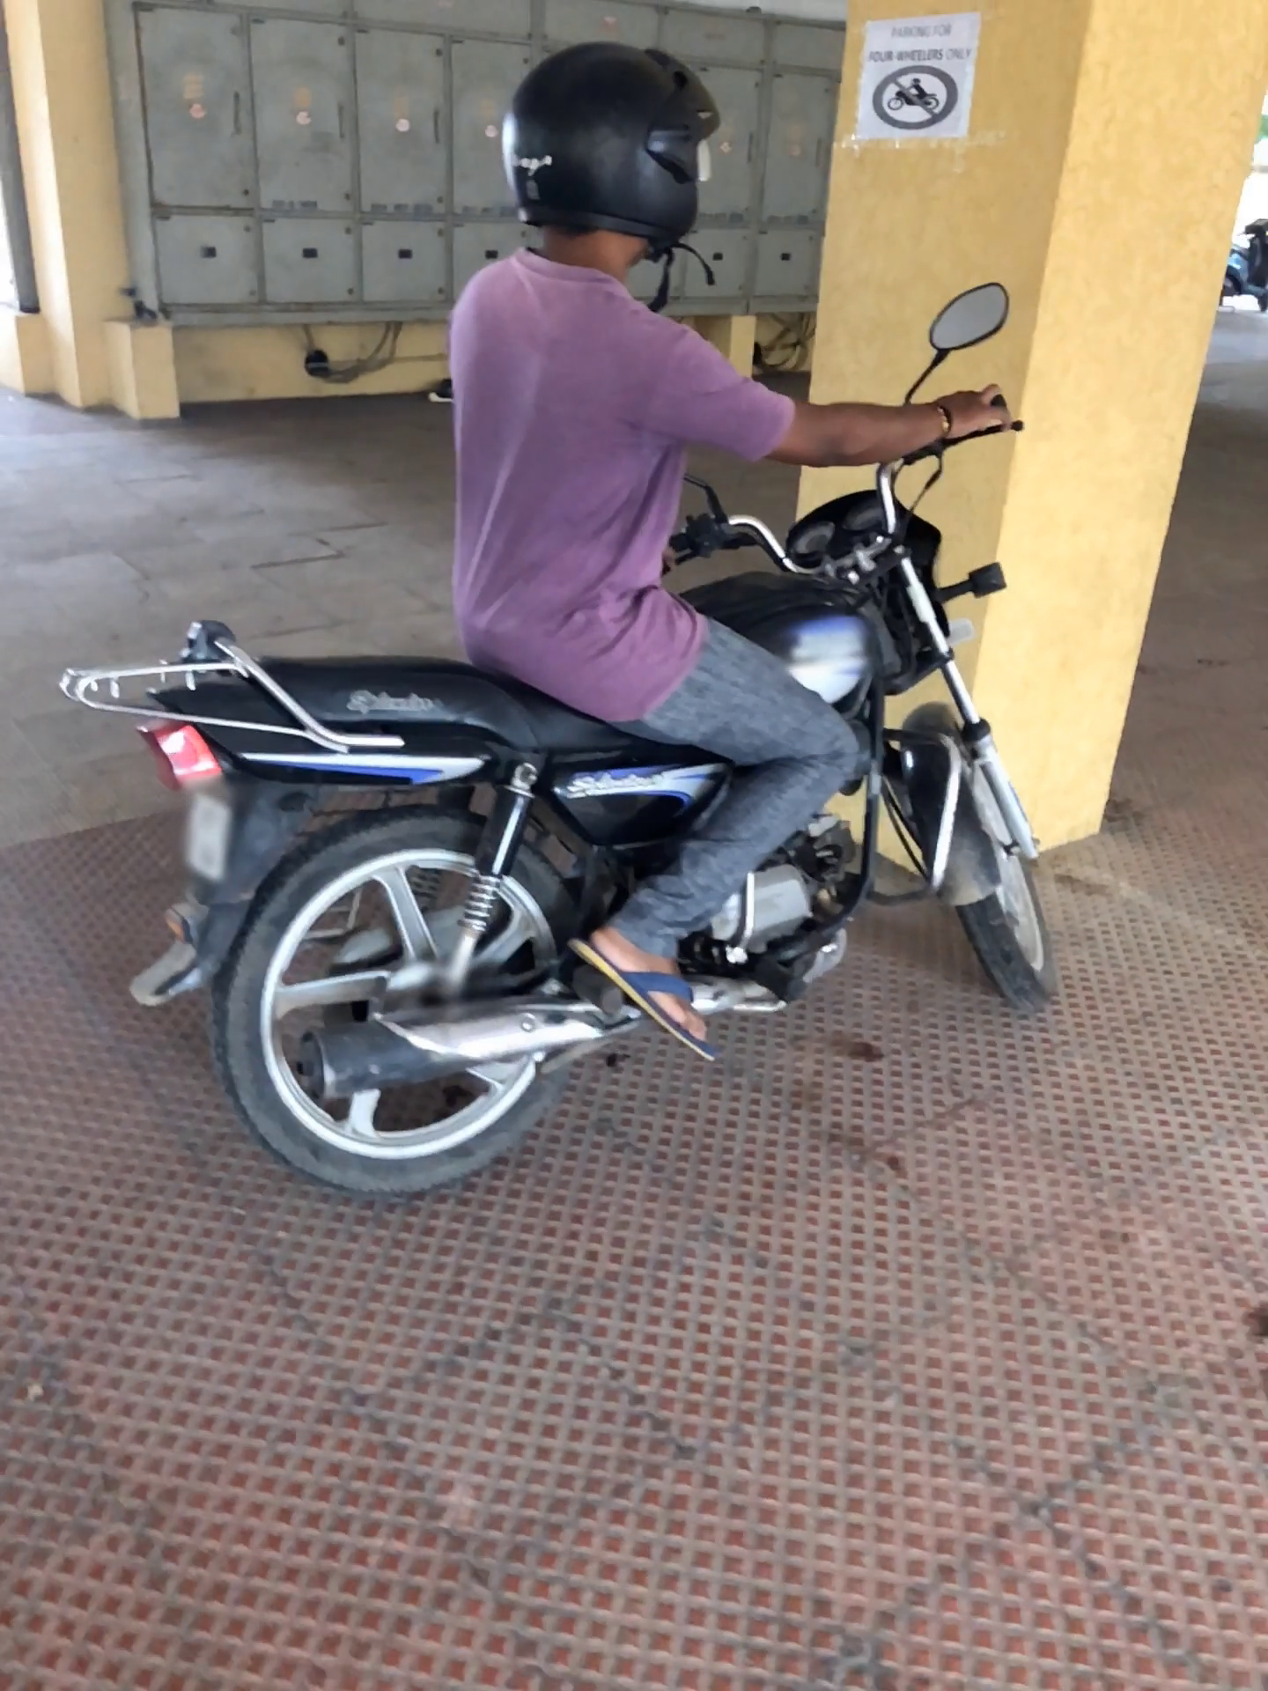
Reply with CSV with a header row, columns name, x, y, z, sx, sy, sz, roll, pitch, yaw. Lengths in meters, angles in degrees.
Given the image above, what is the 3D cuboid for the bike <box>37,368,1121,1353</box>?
name,x,y,z,sx,sy,sz,roll,pitch,yaw
bike,-0.053,-0.130,2.398,1.545,1.195,0.768,-14,31,-34
